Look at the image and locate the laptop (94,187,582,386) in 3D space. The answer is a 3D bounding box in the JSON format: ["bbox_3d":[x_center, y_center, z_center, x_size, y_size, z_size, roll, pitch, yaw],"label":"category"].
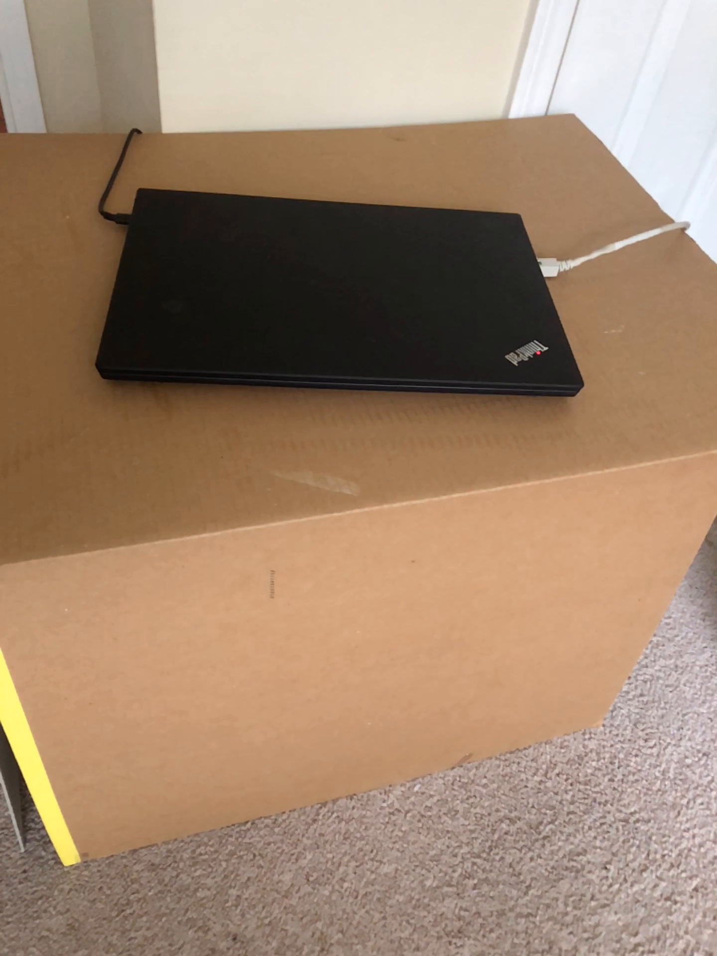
[{"bbox_3d":[-0.013,-0.153,0.601,0.327,0.002,0.226,2,47,-8],"label":"laptop"}]
